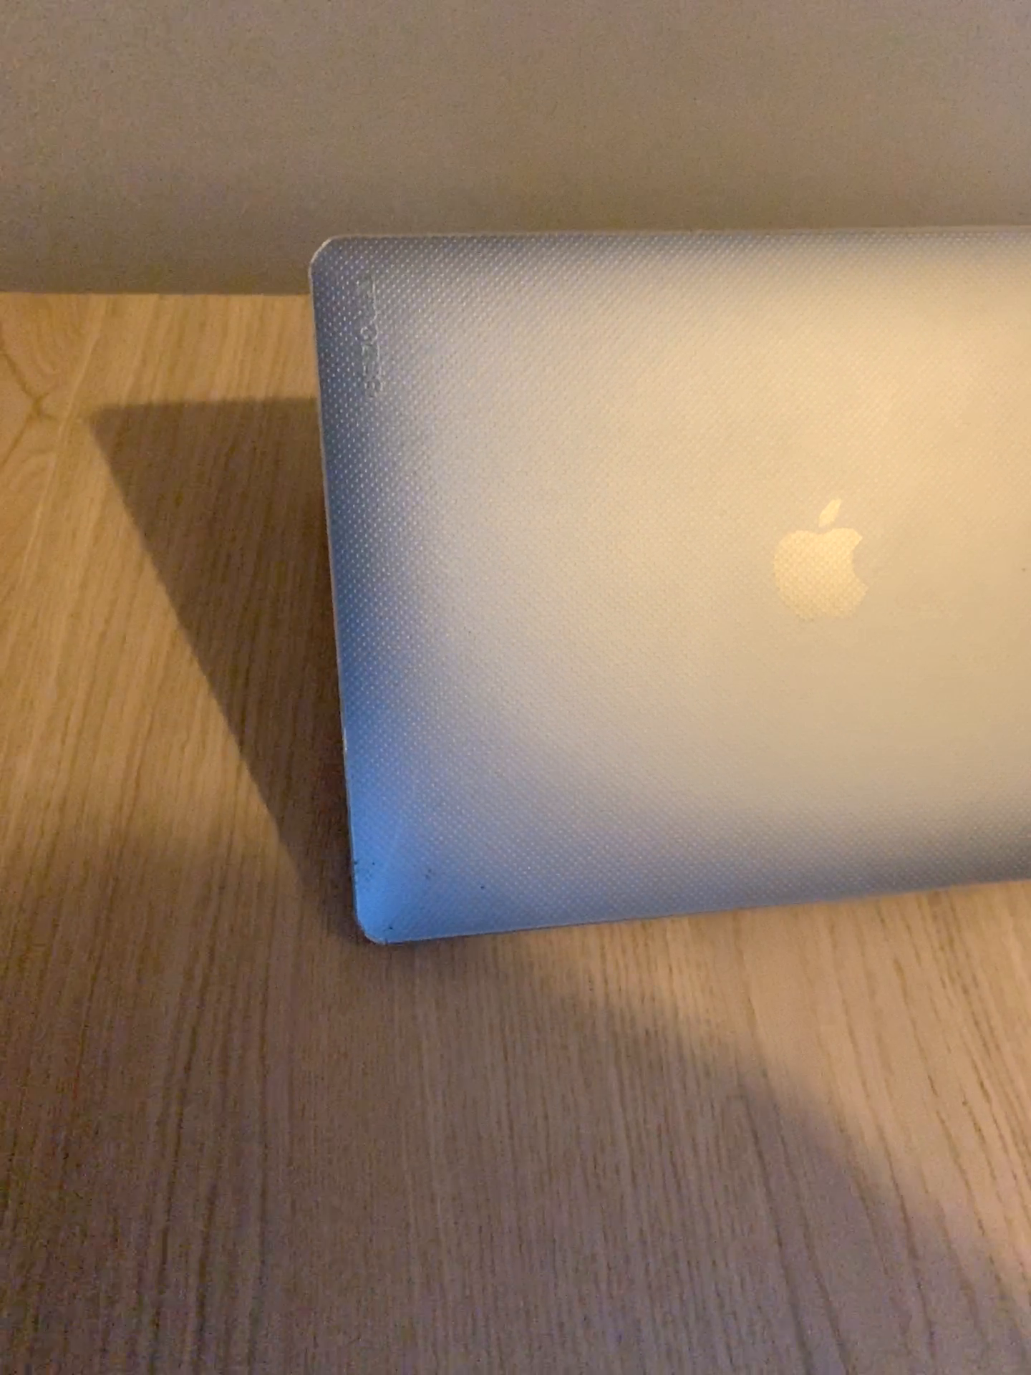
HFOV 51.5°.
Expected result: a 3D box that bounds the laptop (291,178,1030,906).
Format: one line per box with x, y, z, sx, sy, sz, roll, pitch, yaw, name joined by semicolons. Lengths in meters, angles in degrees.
0.090;-0.061;0.367;0.309;0.127;0.207;-5;52;-8;laptop
